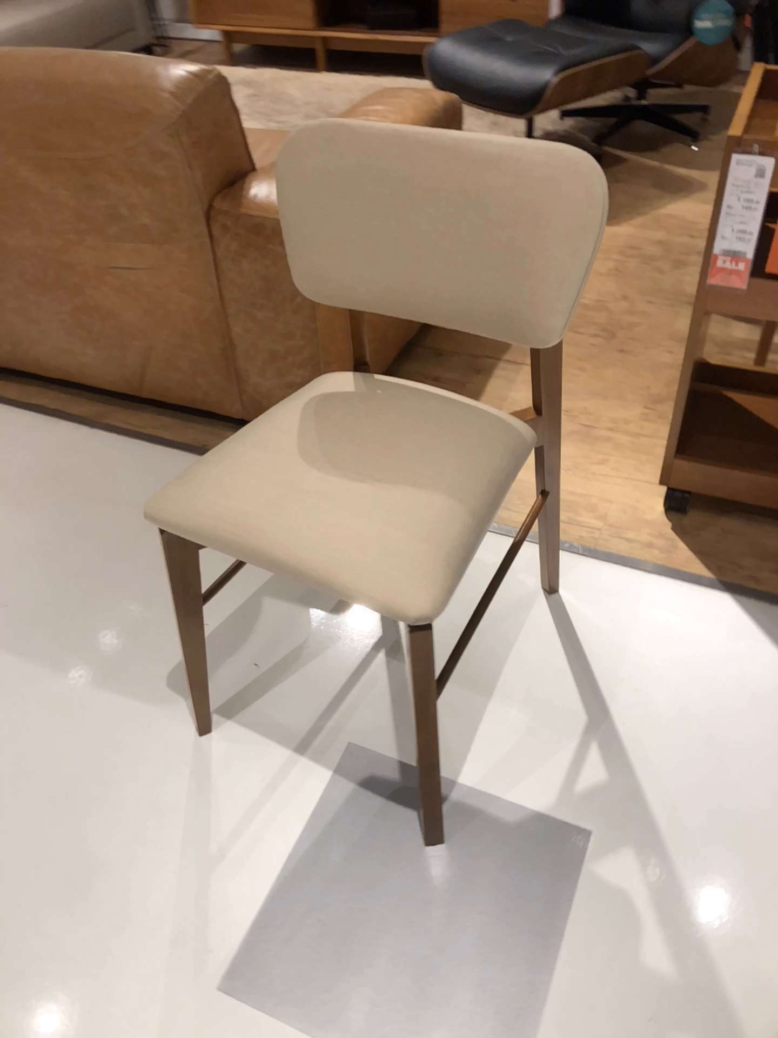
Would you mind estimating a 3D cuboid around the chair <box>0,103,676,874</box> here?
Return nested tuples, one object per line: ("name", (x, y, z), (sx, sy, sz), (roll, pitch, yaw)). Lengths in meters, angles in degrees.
("chair", (-0.001, -0.062, 1.191), (0.511, 0.764, 0.593), (18, 46, 24))
